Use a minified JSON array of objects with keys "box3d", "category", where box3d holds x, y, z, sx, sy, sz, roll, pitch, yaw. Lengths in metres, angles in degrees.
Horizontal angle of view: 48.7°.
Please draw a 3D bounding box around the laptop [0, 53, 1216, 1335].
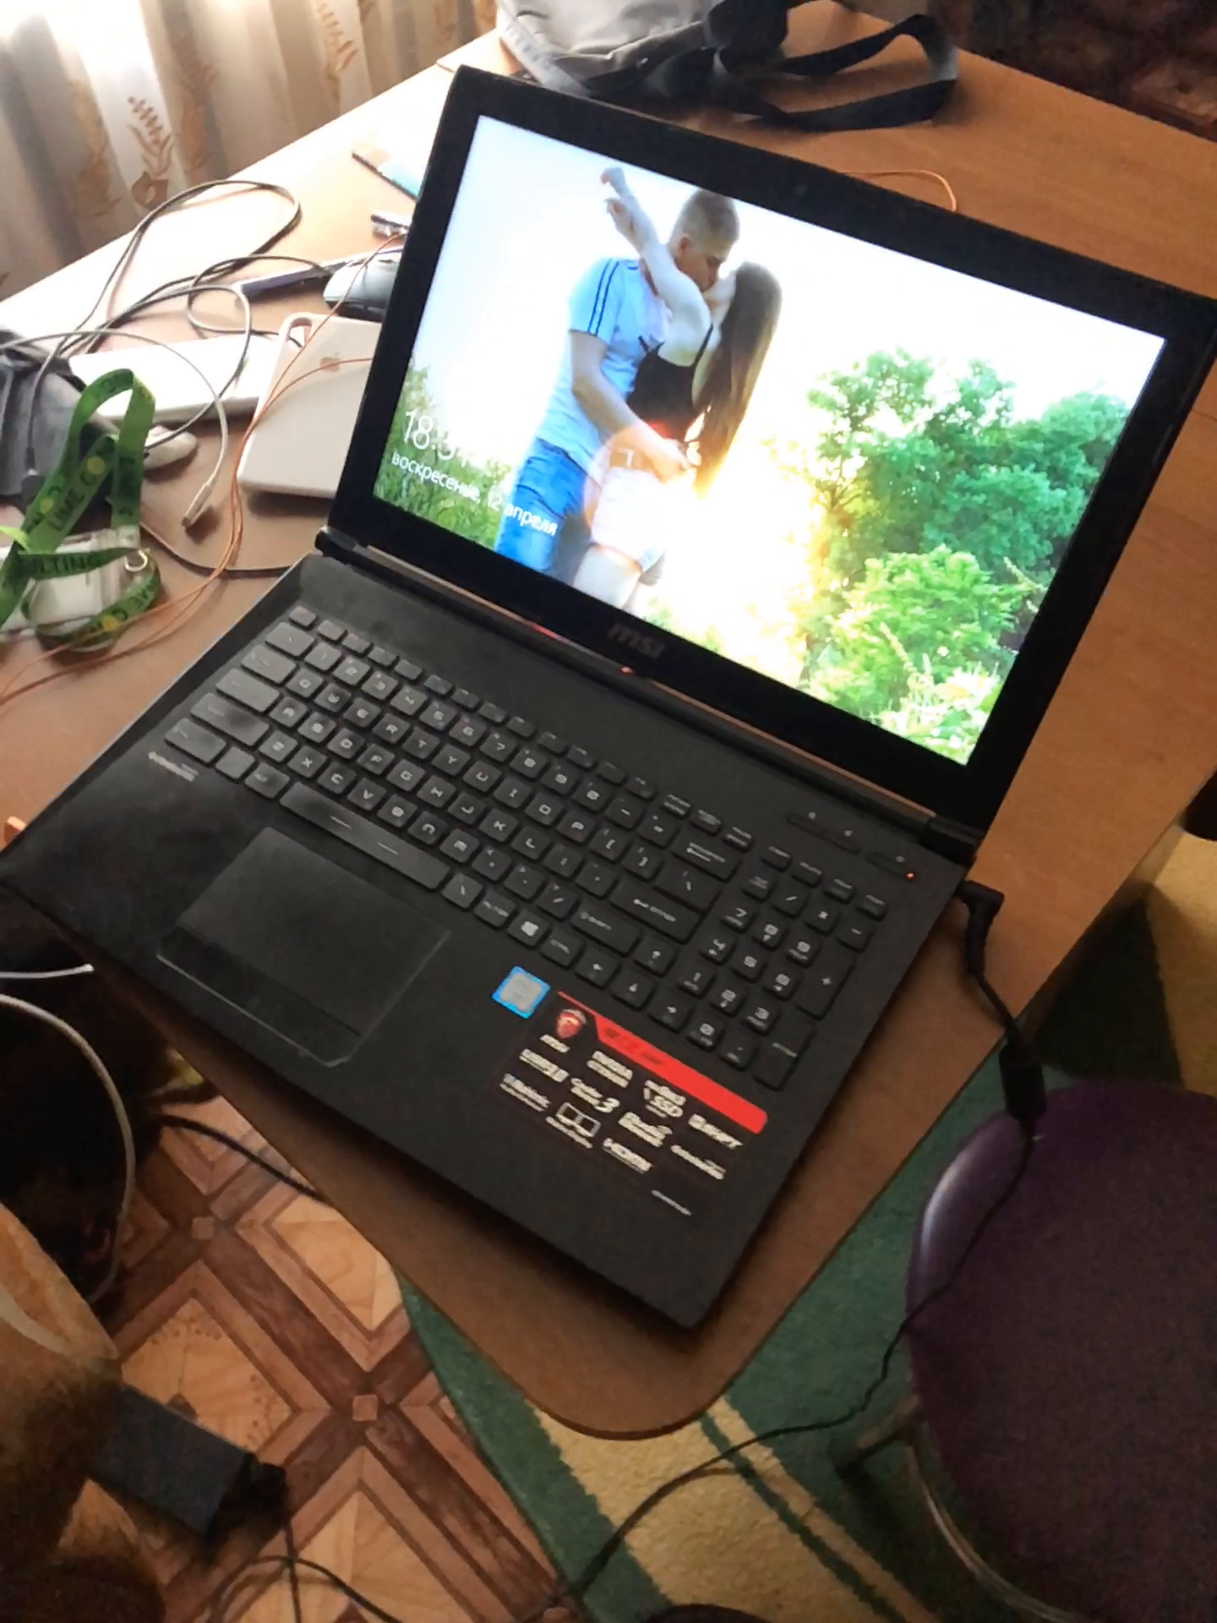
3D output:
[{"box3d":[-0.014,-0.089,0.569,0.374,0.174,0.409,27,61,19],"category":"laptop"}]
